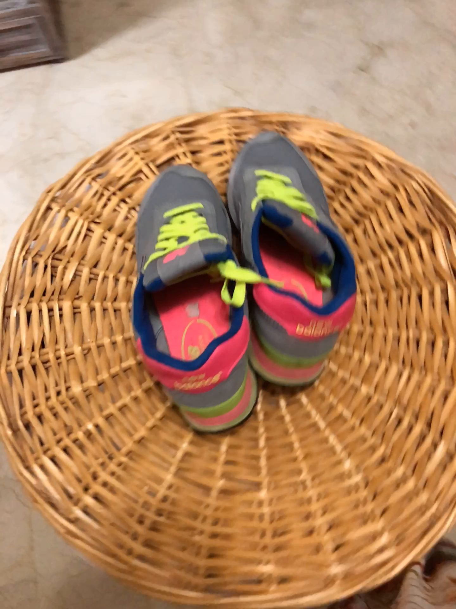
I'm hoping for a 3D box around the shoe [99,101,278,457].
[{"bbox_3d":[-0.035,-0.018,0.446,0.100,0.110,0.280,-10,73,0],"label":"shoe"}]

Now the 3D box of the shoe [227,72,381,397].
[{"bbox_3d":[0.054,-0.058,0.445,0.100,0.110,0.260,-1,73,-2],"label":"shoe"}]
